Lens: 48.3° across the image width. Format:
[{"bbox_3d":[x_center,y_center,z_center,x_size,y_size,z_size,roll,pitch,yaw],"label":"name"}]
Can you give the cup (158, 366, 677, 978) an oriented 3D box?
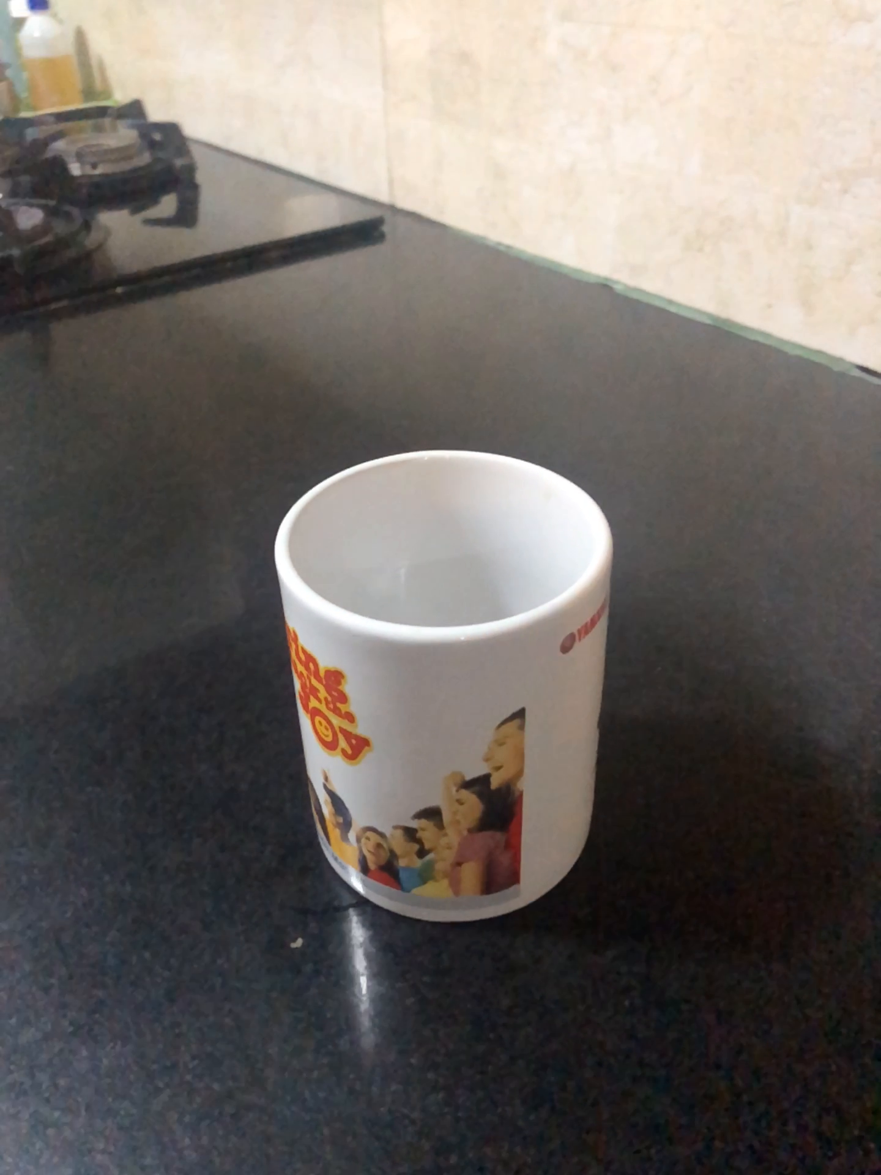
[{"bbox_3d":[-0.011,0.014,0.273,0.080,0.099,0.121,-20,39,-24],"label":"cup"}]
